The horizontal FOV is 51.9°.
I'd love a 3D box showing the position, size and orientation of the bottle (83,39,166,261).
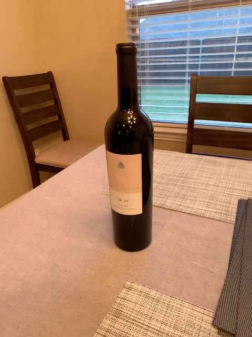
[{"bbox_3d":[0.009,-0.021,0.415,0.083,0.328,0.090,-2,24,1],"label":"bottle"}]
